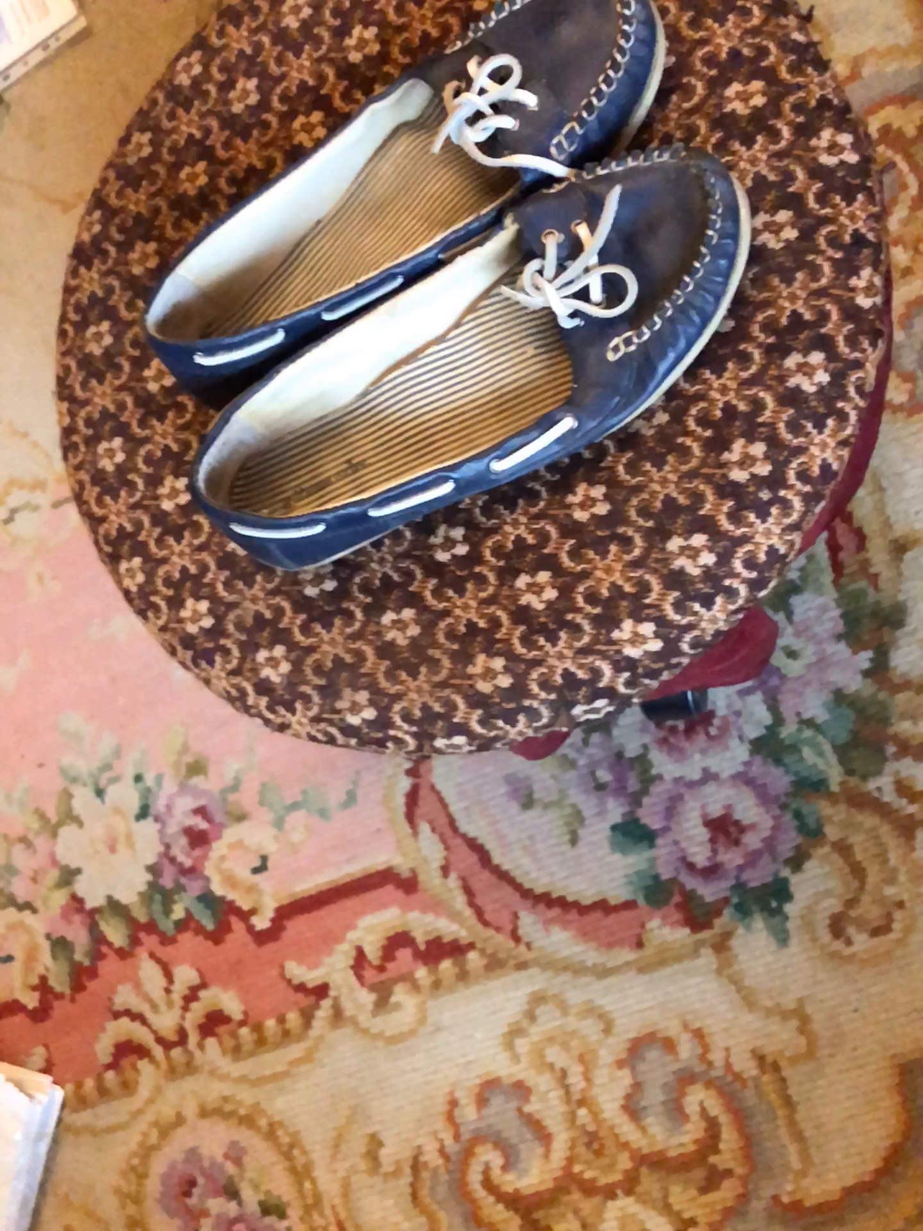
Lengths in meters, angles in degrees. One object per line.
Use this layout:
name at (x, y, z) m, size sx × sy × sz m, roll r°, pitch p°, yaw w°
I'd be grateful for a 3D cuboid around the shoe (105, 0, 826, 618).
shoe at (0.002, -0.100, 0.400) m, size 0.250 × 0.100 × 0.090 m, roll -31°, pitch 81°, yaw 16°

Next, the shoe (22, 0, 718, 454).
shoe at (-0.033, -0.184, 0.407) m, size 0.250 × 0.090 × 0.090 m, roll -33°, pitch 74°, yaw 9°
